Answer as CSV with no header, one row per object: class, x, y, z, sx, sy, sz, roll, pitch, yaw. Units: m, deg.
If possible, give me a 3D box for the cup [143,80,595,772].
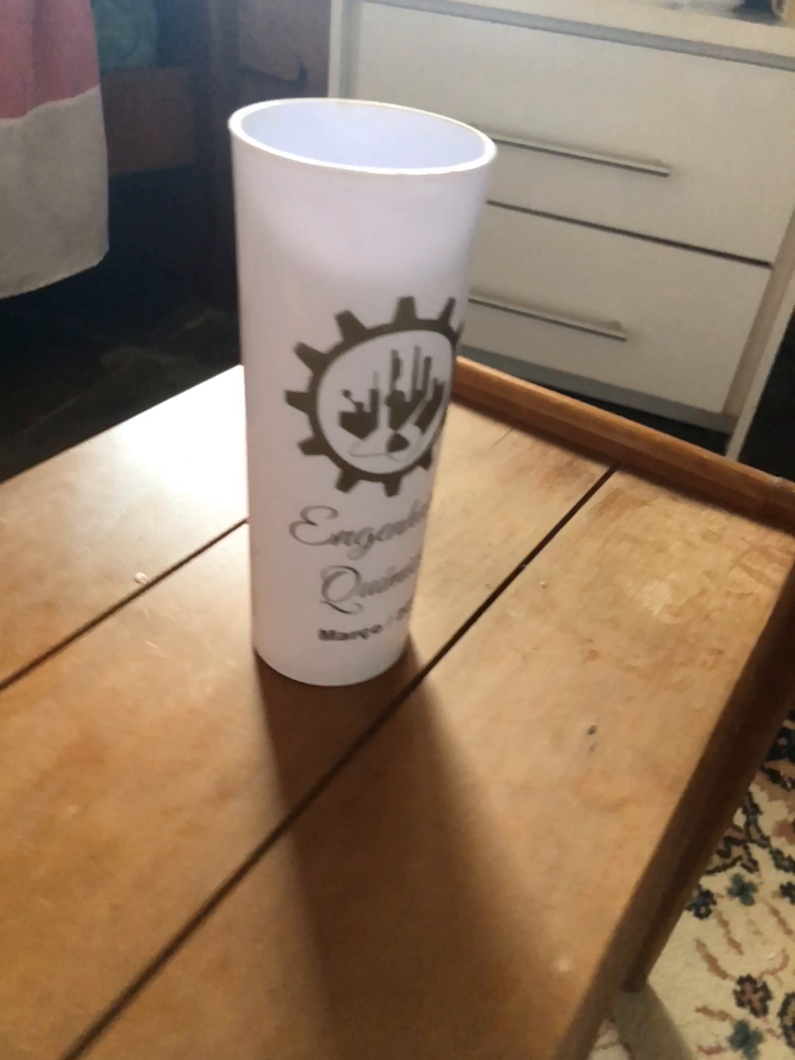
cup,-0.013,-0.025,0.240,0.070,0.159,0.070,4,37,-3
